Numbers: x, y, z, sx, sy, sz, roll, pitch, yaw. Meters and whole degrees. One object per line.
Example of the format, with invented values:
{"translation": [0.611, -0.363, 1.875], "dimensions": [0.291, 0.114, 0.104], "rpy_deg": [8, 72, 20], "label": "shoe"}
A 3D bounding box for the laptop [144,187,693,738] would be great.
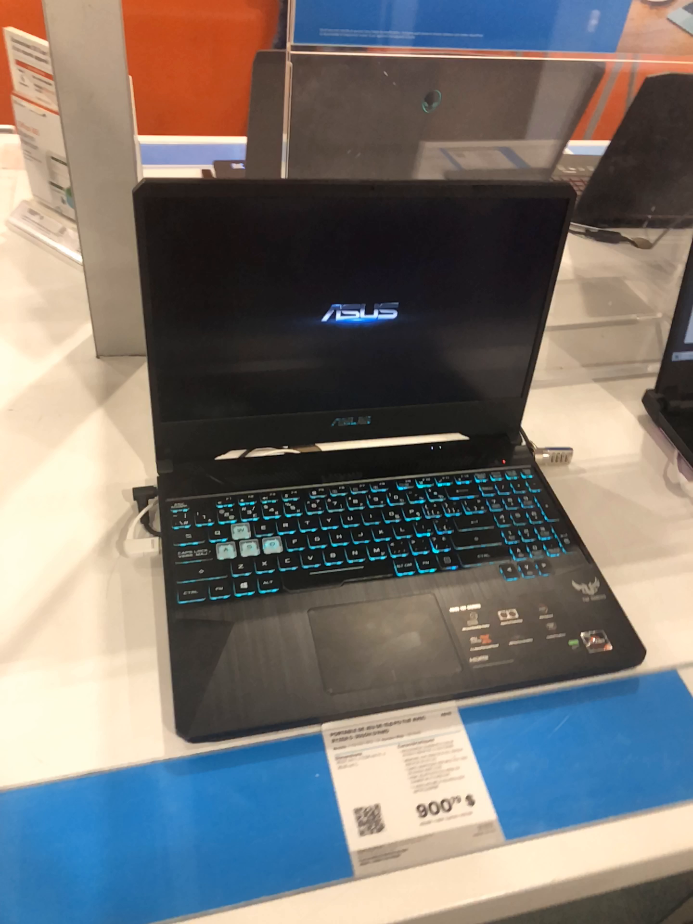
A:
{"translation": [0.040, -0.025, 0.572], "dimensions": [0.350, 0.235, 0.302], "rpy_deg": [-5, 44, -14], "label": "laptop"}
